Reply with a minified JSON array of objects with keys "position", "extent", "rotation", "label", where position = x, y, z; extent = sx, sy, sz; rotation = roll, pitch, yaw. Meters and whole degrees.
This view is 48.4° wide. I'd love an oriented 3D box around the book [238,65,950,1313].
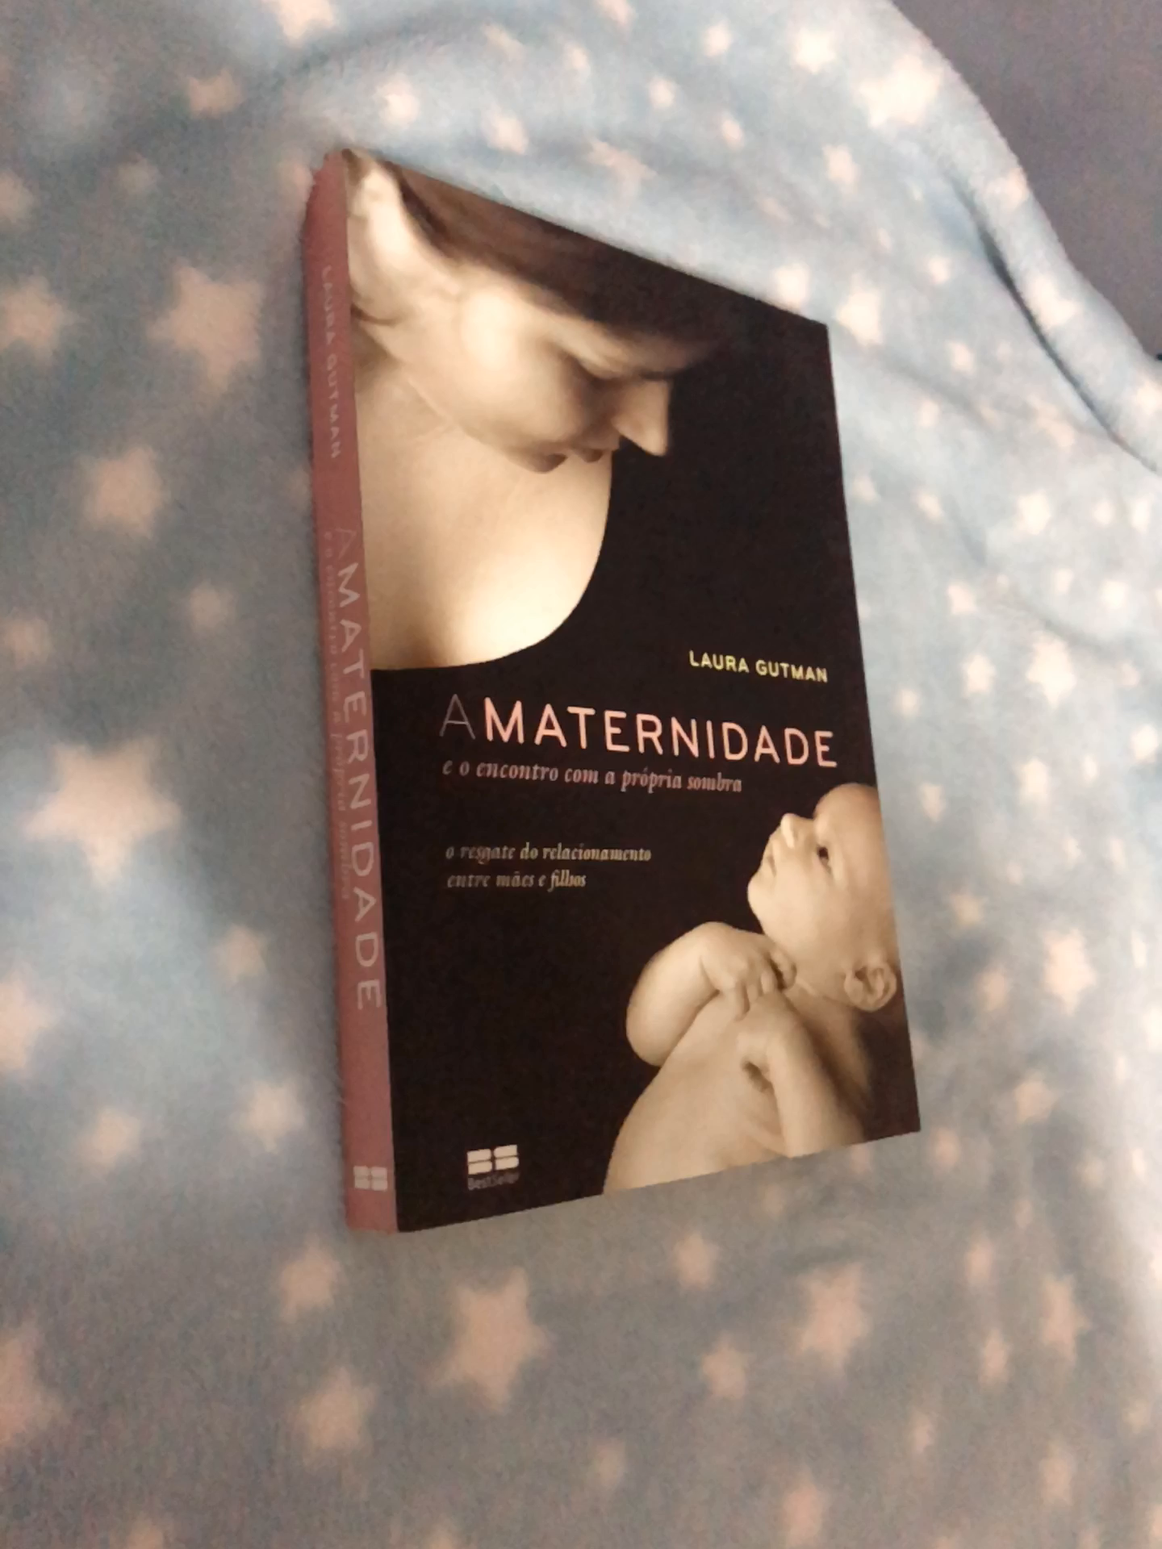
[{"position":[0.007,-0.020,0.300],"extent":[0.161,0.030,0.240],"rotation":[4,76,-38],"label":"book"}]
